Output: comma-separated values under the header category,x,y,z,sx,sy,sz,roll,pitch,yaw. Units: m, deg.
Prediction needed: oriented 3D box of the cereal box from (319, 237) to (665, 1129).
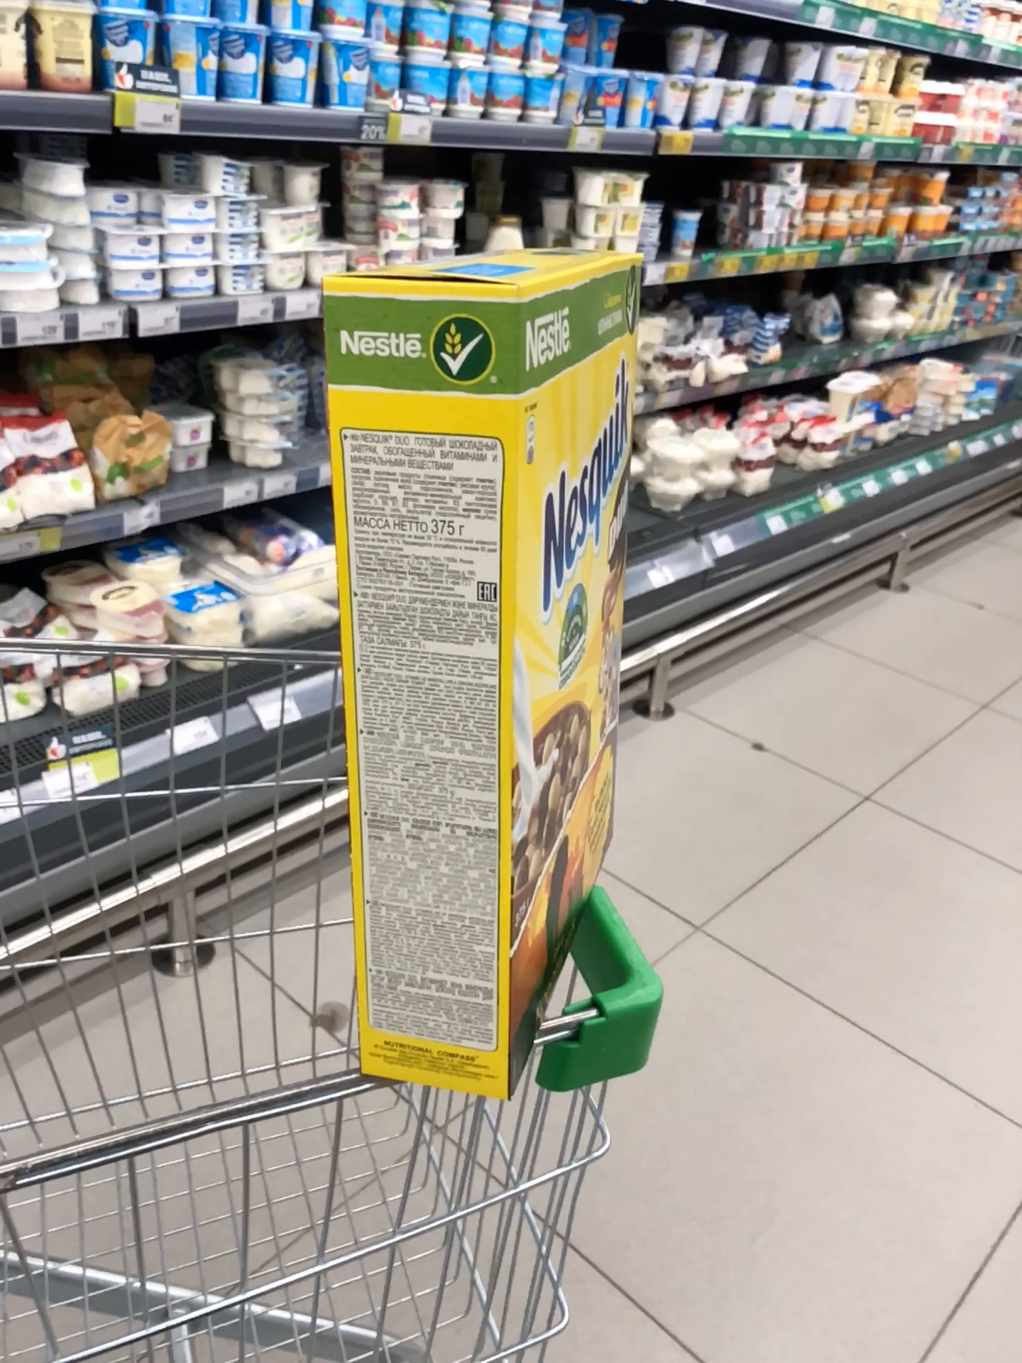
category,x,y,z,sx,sy,sz,roll,pitch,yaw
cereal box,0.004,-0.017,0.427,0.060,0.279,0.201,7,23,14
